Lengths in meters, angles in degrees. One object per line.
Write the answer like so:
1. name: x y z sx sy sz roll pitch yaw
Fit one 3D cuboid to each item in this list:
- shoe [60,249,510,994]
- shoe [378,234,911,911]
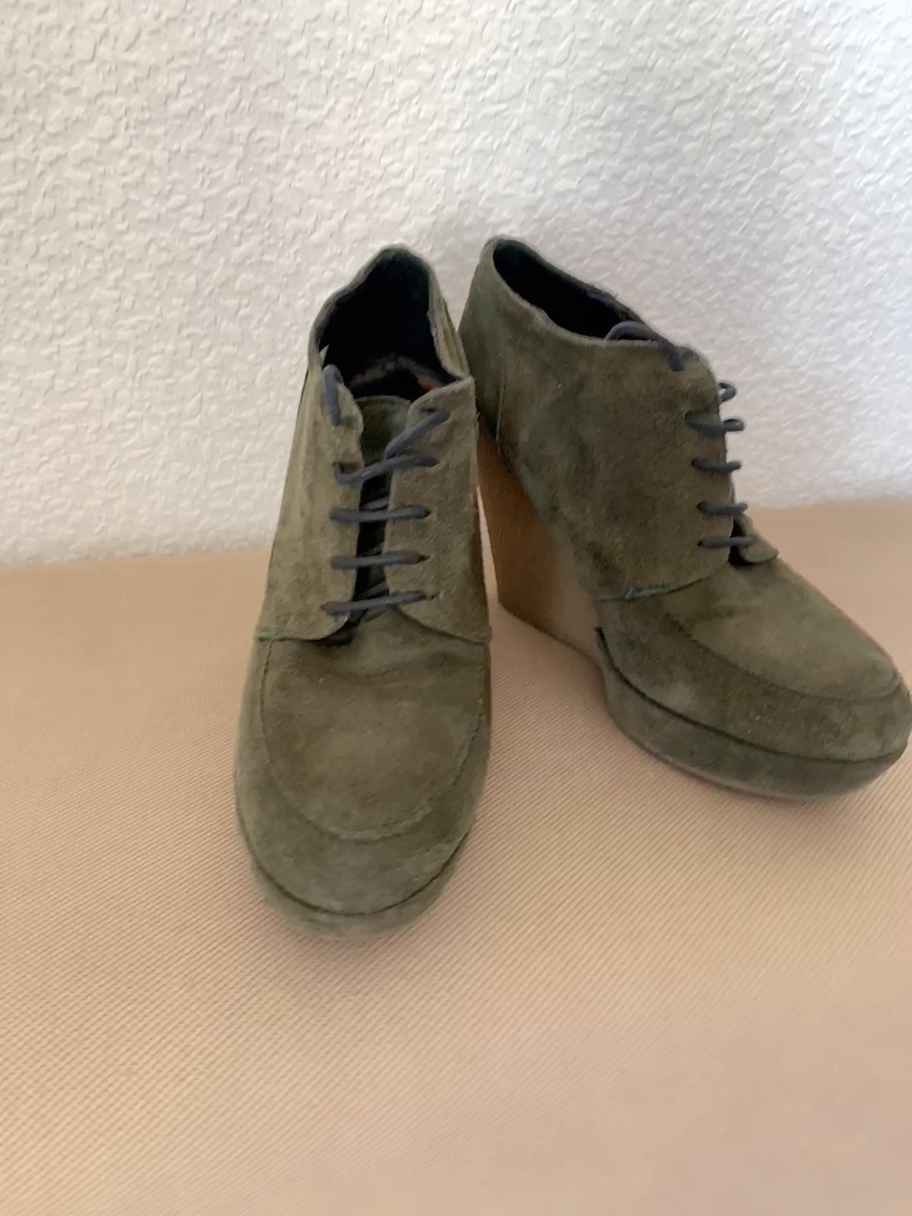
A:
1. shoe: -0.030 -0.018 0.314 0.086 0.136 0.230 3 34 1
2. shoe: 0.069 -0.040 0.369 0.080 0.139 0.271 -18 39 -27
